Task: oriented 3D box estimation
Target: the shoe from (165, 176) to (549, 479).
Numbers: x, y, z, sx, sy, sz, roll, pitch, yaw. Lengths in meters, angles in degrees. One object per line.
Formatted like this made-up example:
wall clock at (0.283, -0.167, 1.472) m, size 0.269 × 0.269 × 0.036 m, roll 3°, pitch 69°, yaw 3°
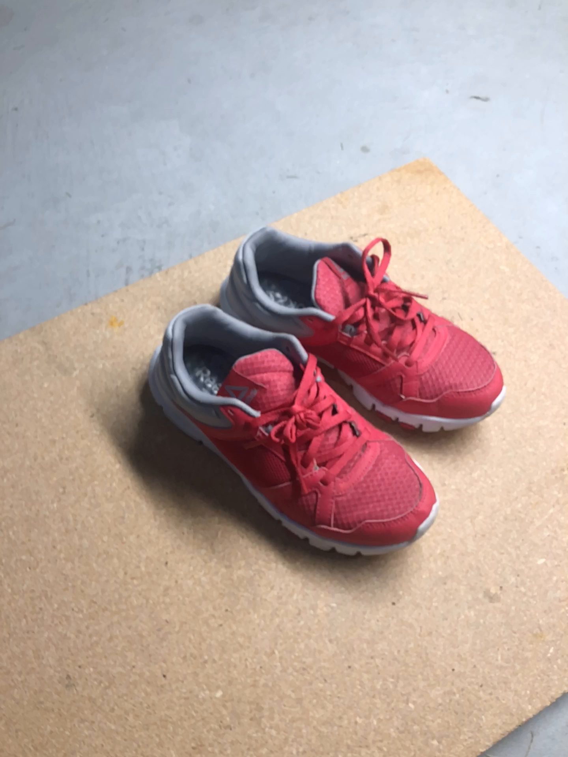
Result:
shoe at (0.052, -0.046, 0.523) m, size 0.270 × 0.100 × 0.110 m, roll 28°, pitch 64°, yaw 15°

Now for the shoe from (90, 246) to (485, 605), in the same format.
shoe at (-0.005, 0.030, 0.477) m, size 0.270 × 0.100 × 0.100 m, roll 36°, pitch 66°, yaw 19°
